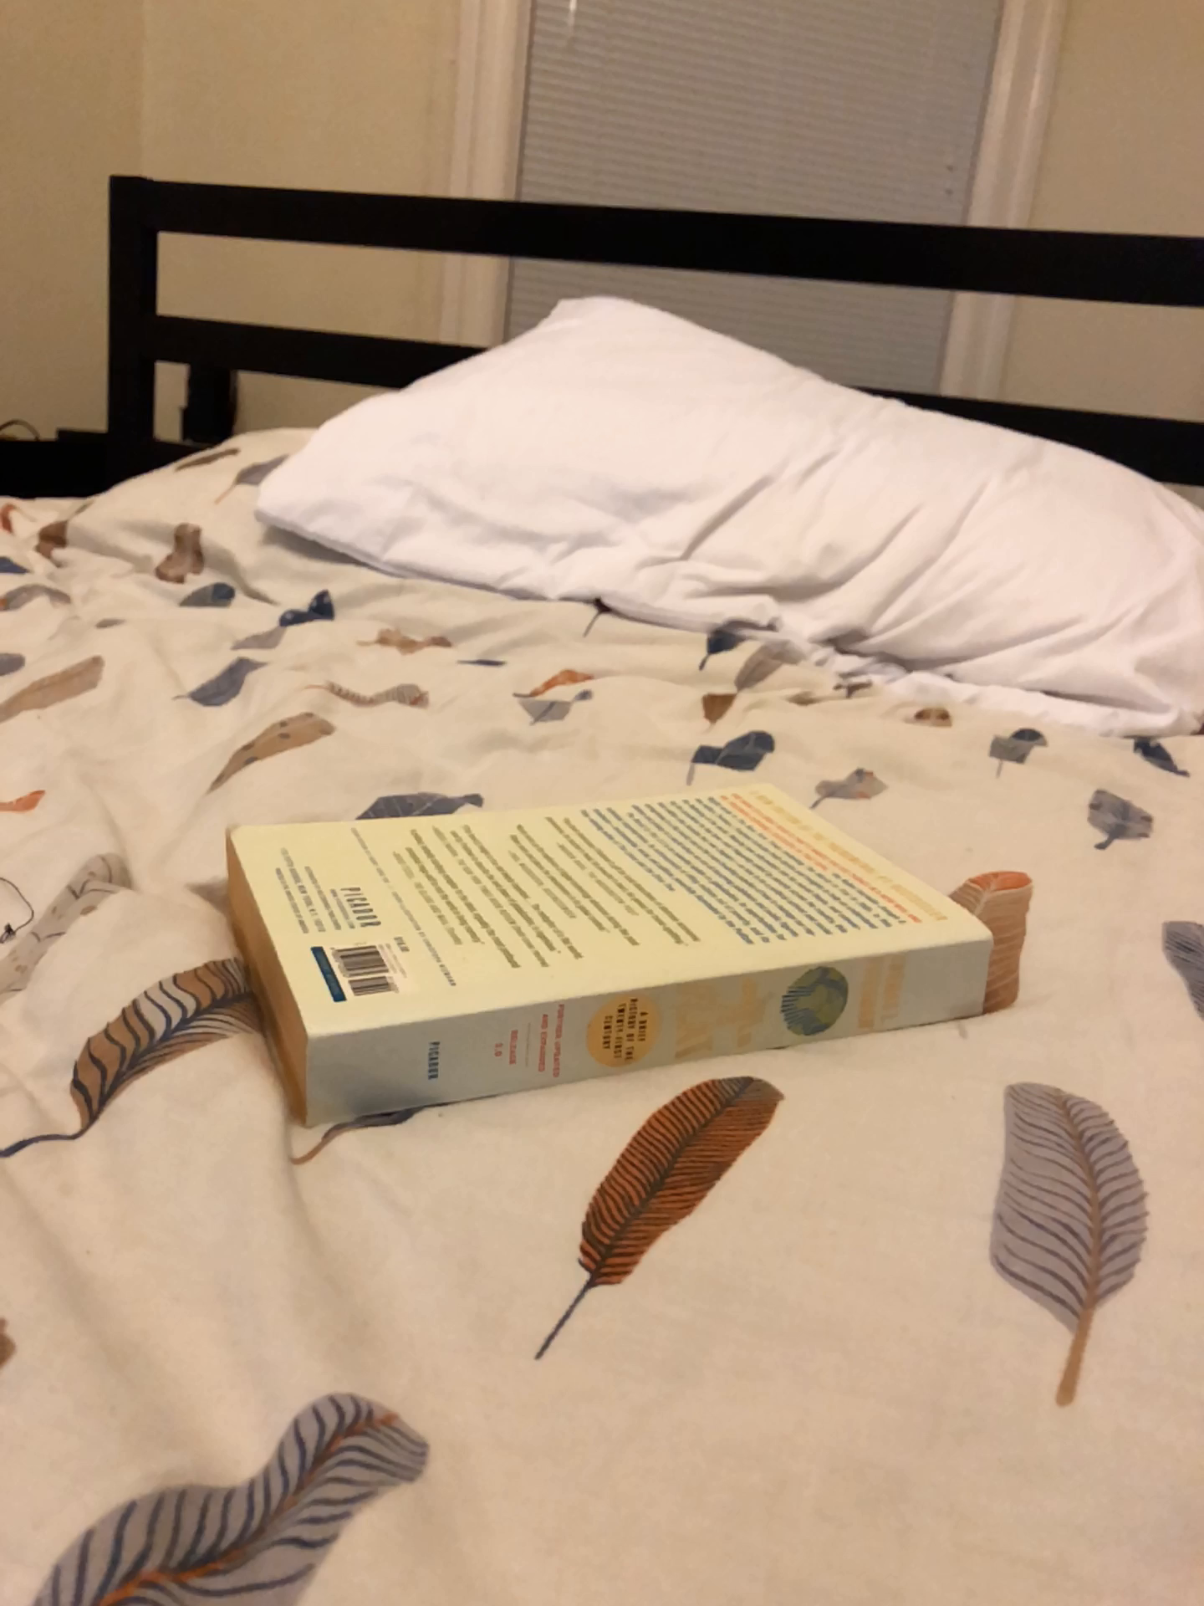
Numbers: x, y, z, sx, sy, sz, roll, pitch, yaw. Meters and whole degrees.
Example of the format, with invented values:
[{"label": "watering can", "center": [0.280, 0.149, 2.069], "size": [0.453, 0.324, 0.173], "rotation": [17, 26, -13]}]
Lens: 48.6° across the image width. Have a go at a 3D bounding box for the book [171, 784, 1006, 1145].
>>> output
[{"label": "book", "center": [-0.010, 0.037, 0.424], "size": [0.220, 0.040, 0.150], "rotation": [-3, 16, -27]}]
